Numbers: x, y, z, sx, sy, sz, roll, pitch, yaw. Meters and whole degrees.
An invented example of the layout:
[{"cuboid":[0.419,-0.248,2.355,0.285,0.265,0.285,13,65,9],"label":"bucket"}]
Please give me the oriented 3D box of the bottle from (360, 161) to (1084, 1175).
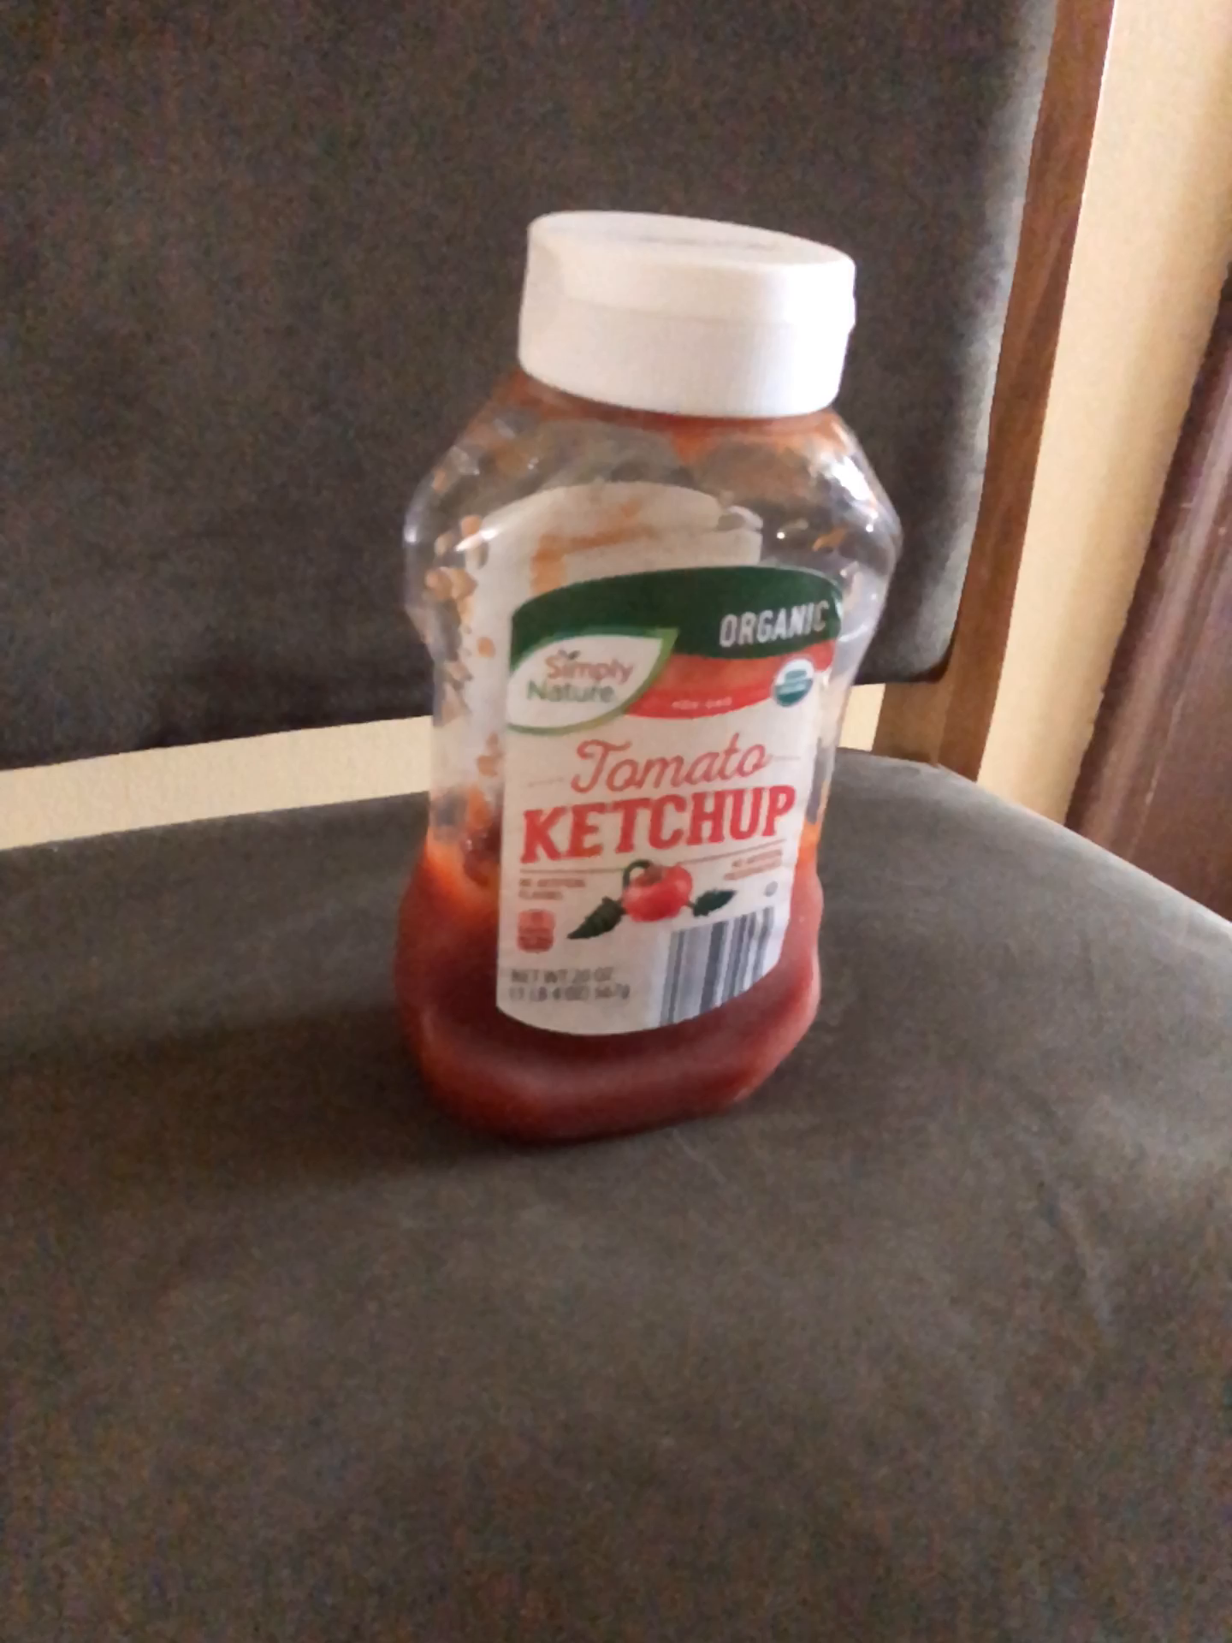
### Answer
[{"cuboid":[0.008,-0.026,0.258,0.100,0.170,0.060,-6,32,-19],"label":"bottle"}]
